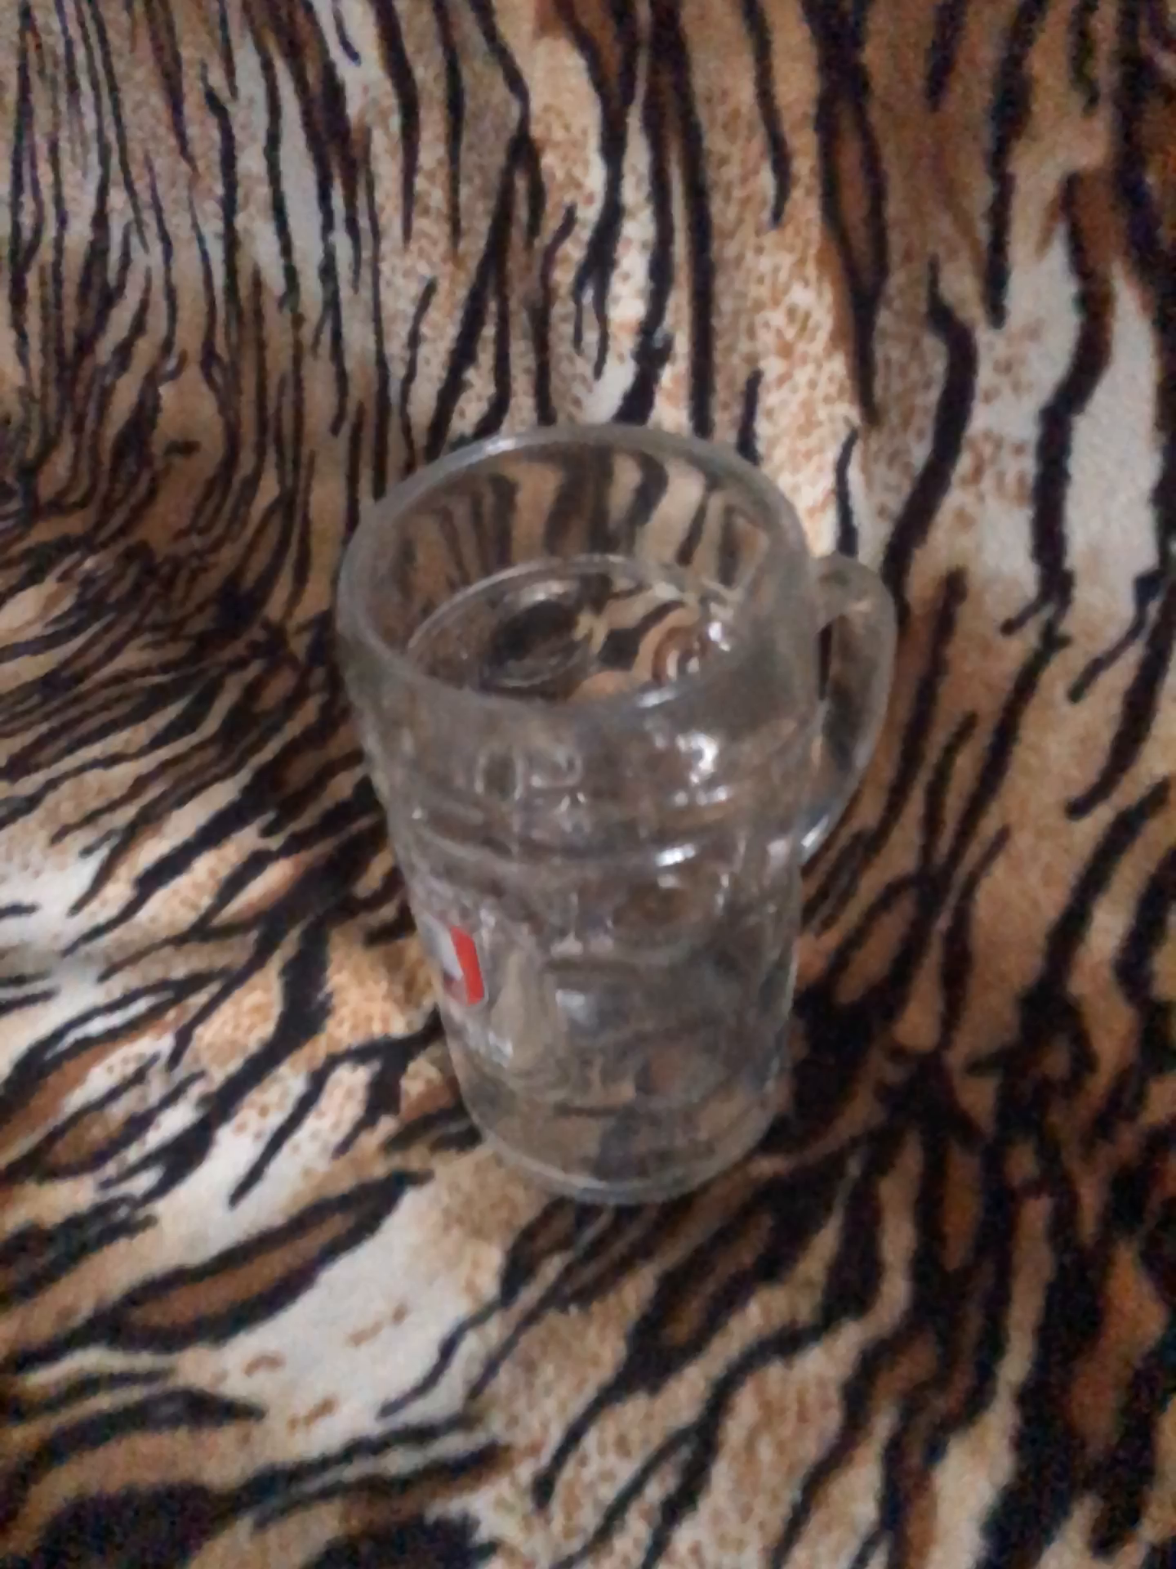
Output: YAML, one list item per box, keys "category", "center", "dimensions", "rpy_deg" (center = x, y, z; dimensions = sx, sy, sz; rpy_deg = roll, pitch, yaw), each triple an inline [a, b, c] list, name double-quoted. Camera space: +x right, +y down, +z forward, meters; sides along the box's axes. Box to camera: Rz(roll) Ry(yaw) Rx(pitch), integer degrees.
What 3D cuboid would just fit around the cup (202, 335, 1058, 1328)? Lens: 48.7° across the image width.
- category: "cup"
  center: [0.013, 0.011, 0.355]
  dimensions: [0.150, 0.194, 0.121]
  rpy_deg: [-28, 47, -24]
